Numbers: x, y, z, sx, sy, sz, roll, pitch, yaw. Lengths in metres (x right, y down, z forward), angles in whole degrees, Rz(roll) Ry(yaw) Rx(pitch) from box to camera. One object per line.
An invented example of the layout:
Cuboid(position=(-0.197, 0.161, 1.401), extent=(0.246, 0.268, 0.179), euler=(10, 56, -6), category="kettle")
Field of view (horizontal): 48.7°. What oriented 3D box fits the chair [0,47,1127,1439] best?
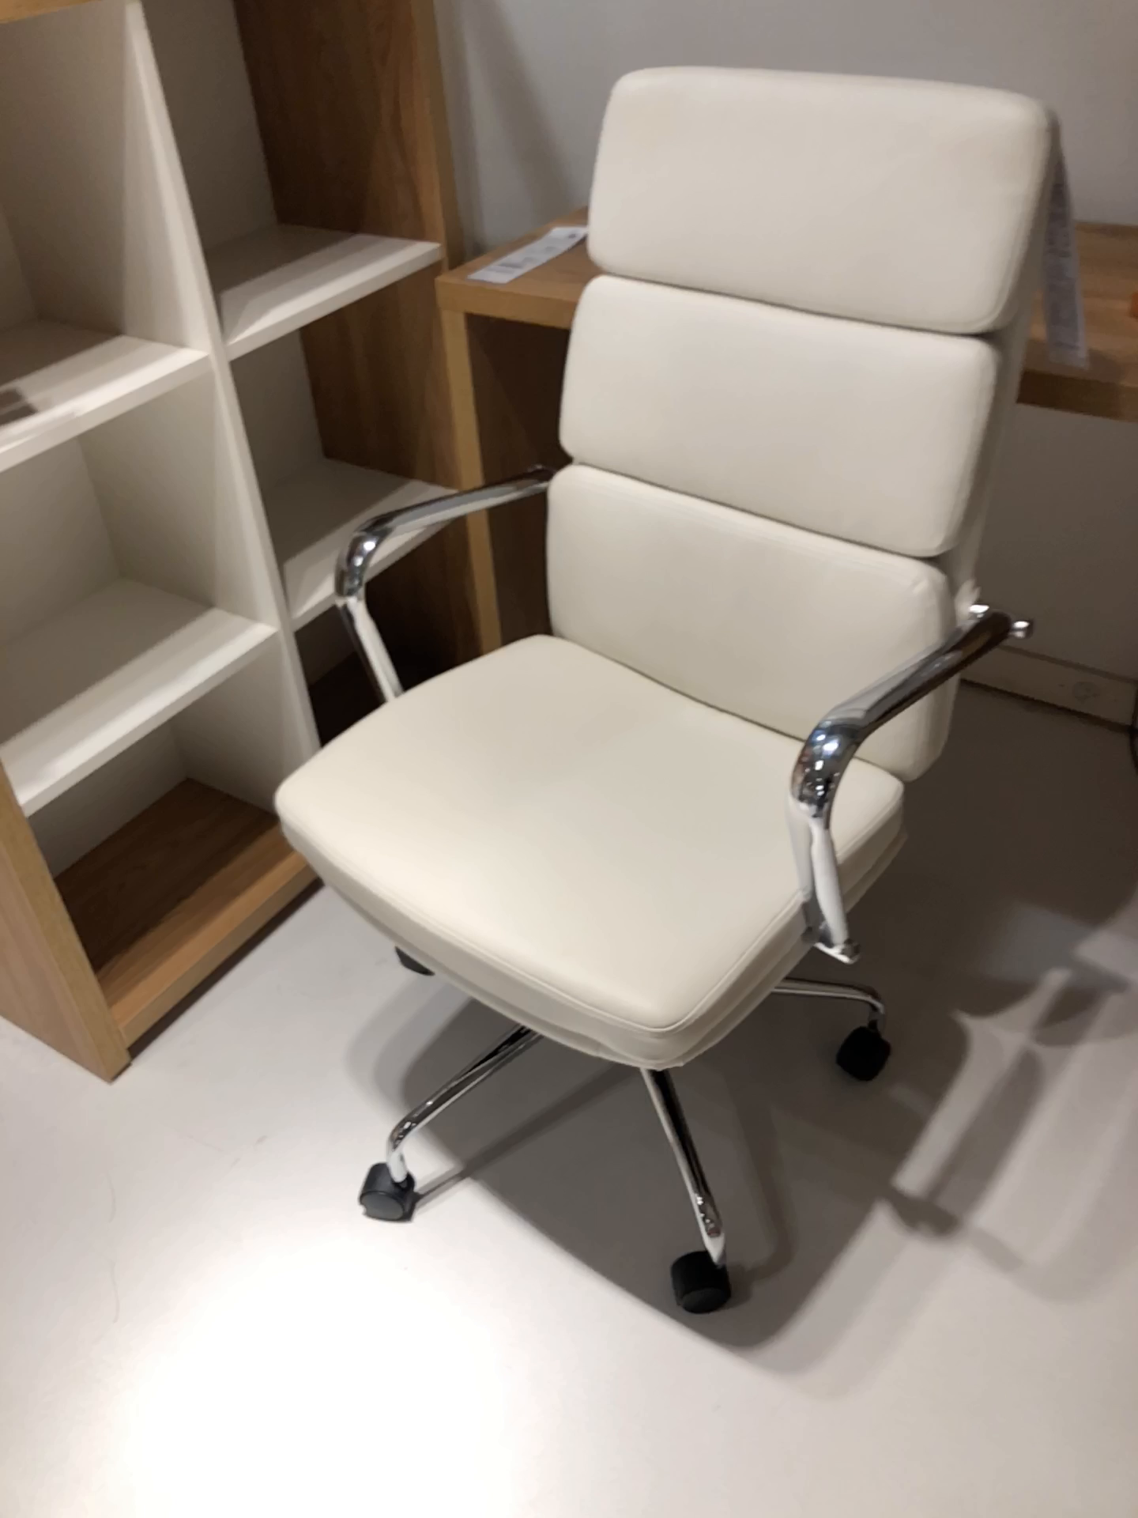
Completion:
Cuboid(position=(0.014, -0.047, 1.246), extent=(0.642, 1.032, 0.684), euler=(22, 45, 30), category="chair")
